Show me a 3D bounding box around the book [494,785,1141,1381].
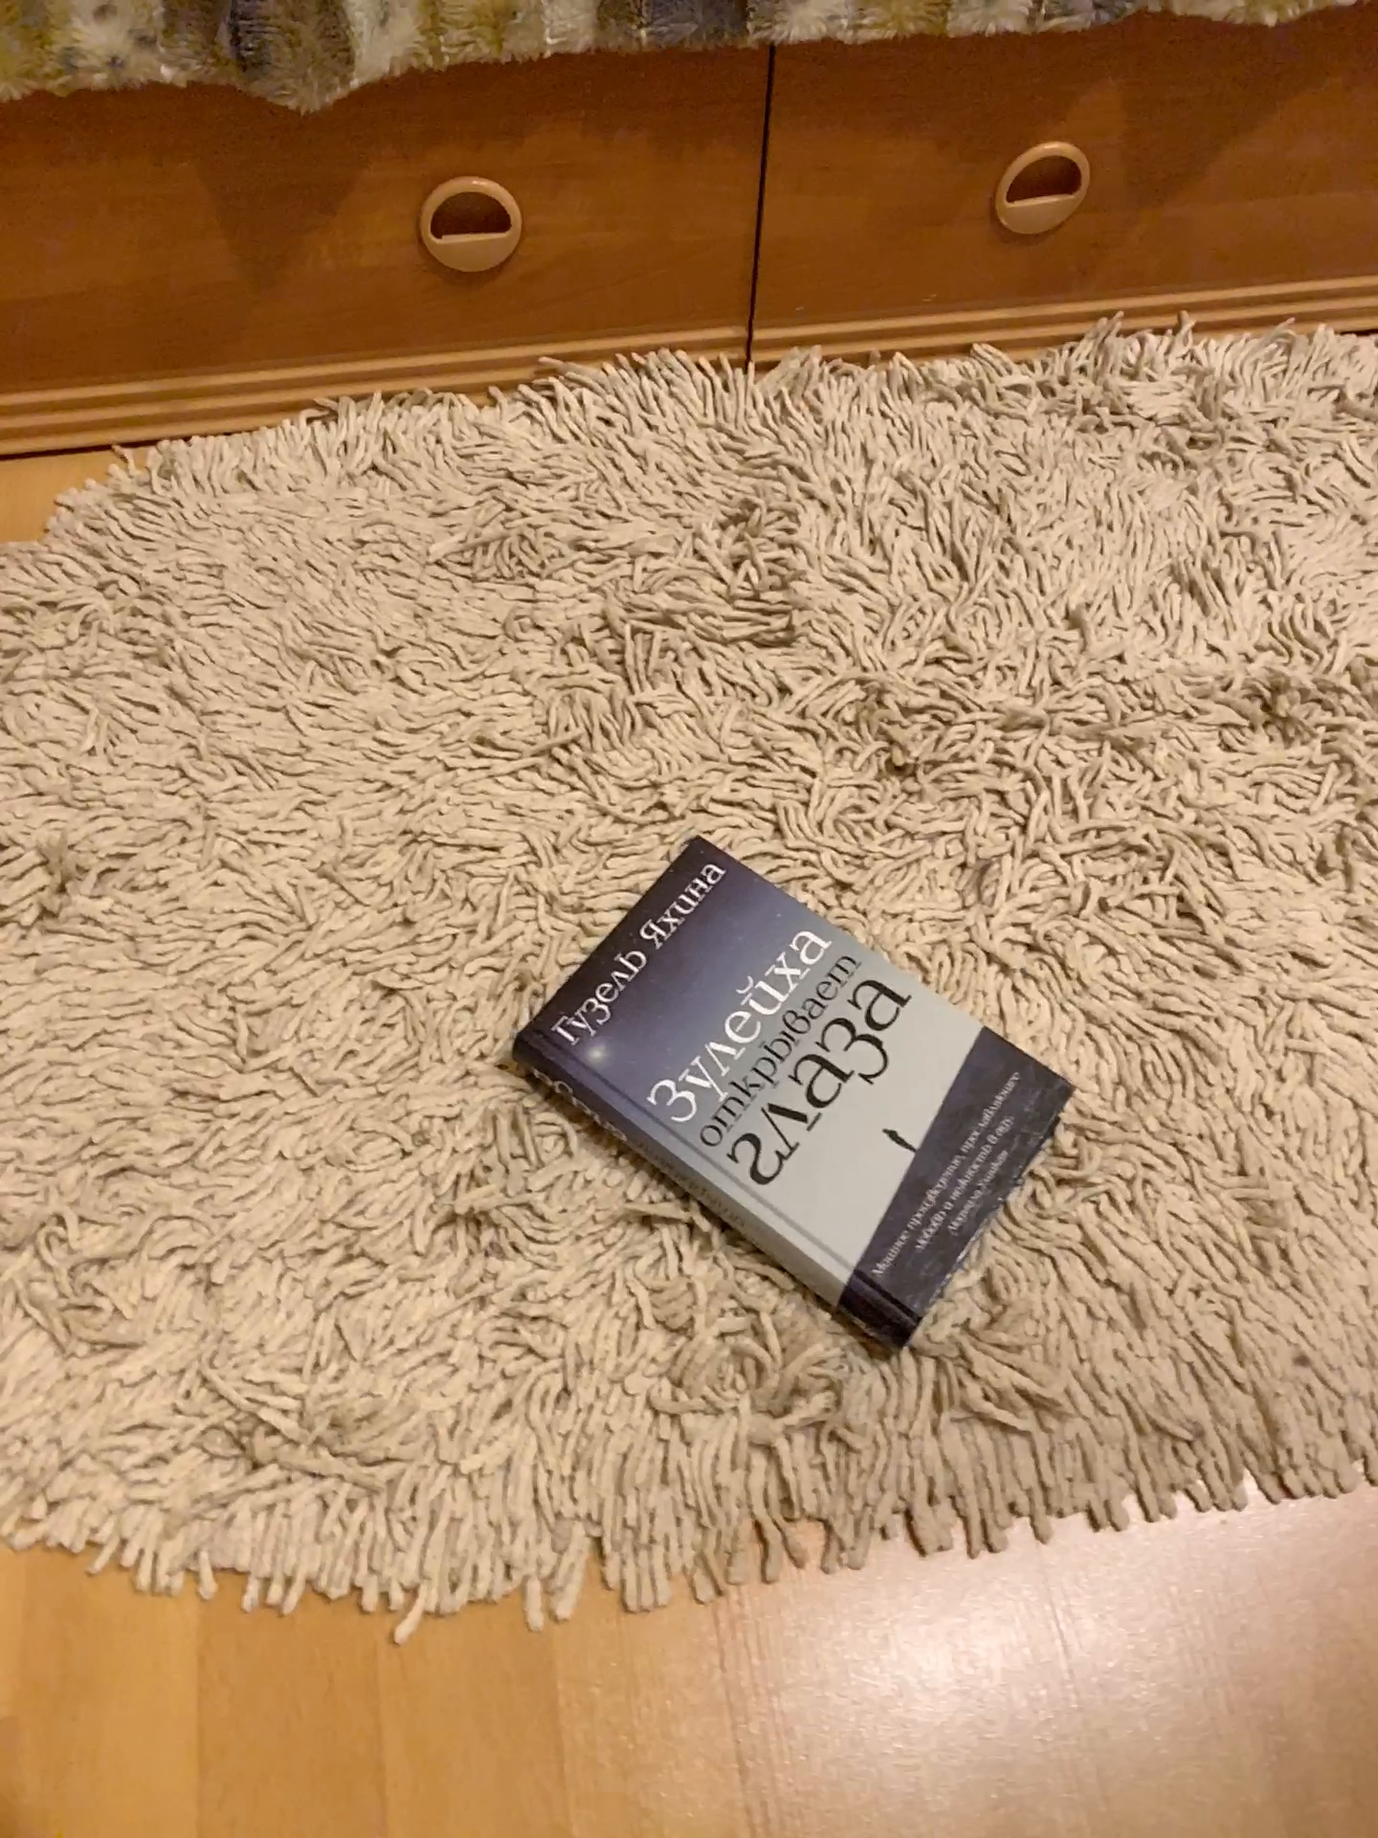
[{"bbox_3d":[0.052,0.059,0.593,0.220,0.040,0.151,35,64,17],"label":"book"}]
